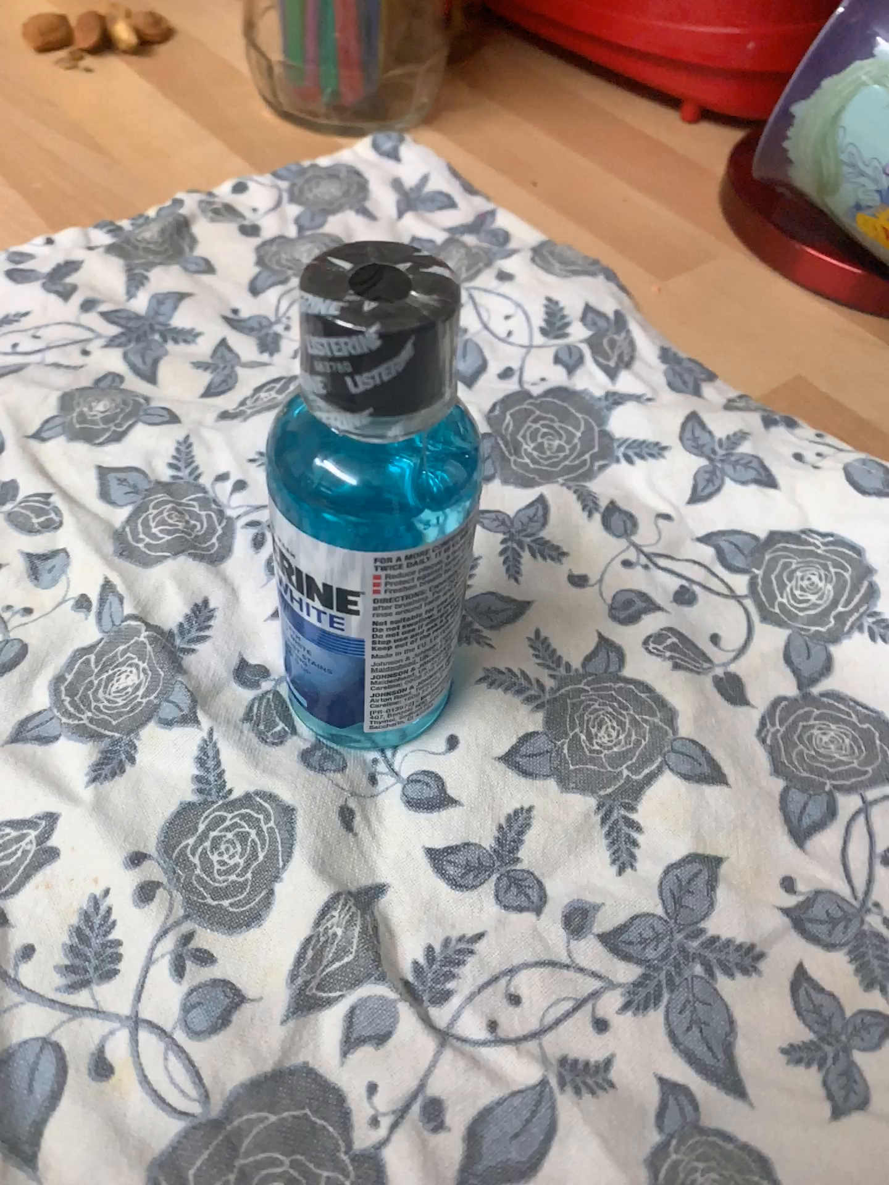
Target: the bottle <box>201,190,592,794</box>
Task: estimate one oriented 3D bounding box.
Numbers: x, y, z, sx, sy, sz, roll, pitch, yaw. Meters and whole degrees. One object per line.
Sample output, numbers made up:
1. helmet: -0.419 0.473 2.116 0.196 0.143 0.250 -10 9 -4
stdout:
1. bottle: -0.014 -0.012 0.180 0.050 0.109 0.050 3 51 -4
